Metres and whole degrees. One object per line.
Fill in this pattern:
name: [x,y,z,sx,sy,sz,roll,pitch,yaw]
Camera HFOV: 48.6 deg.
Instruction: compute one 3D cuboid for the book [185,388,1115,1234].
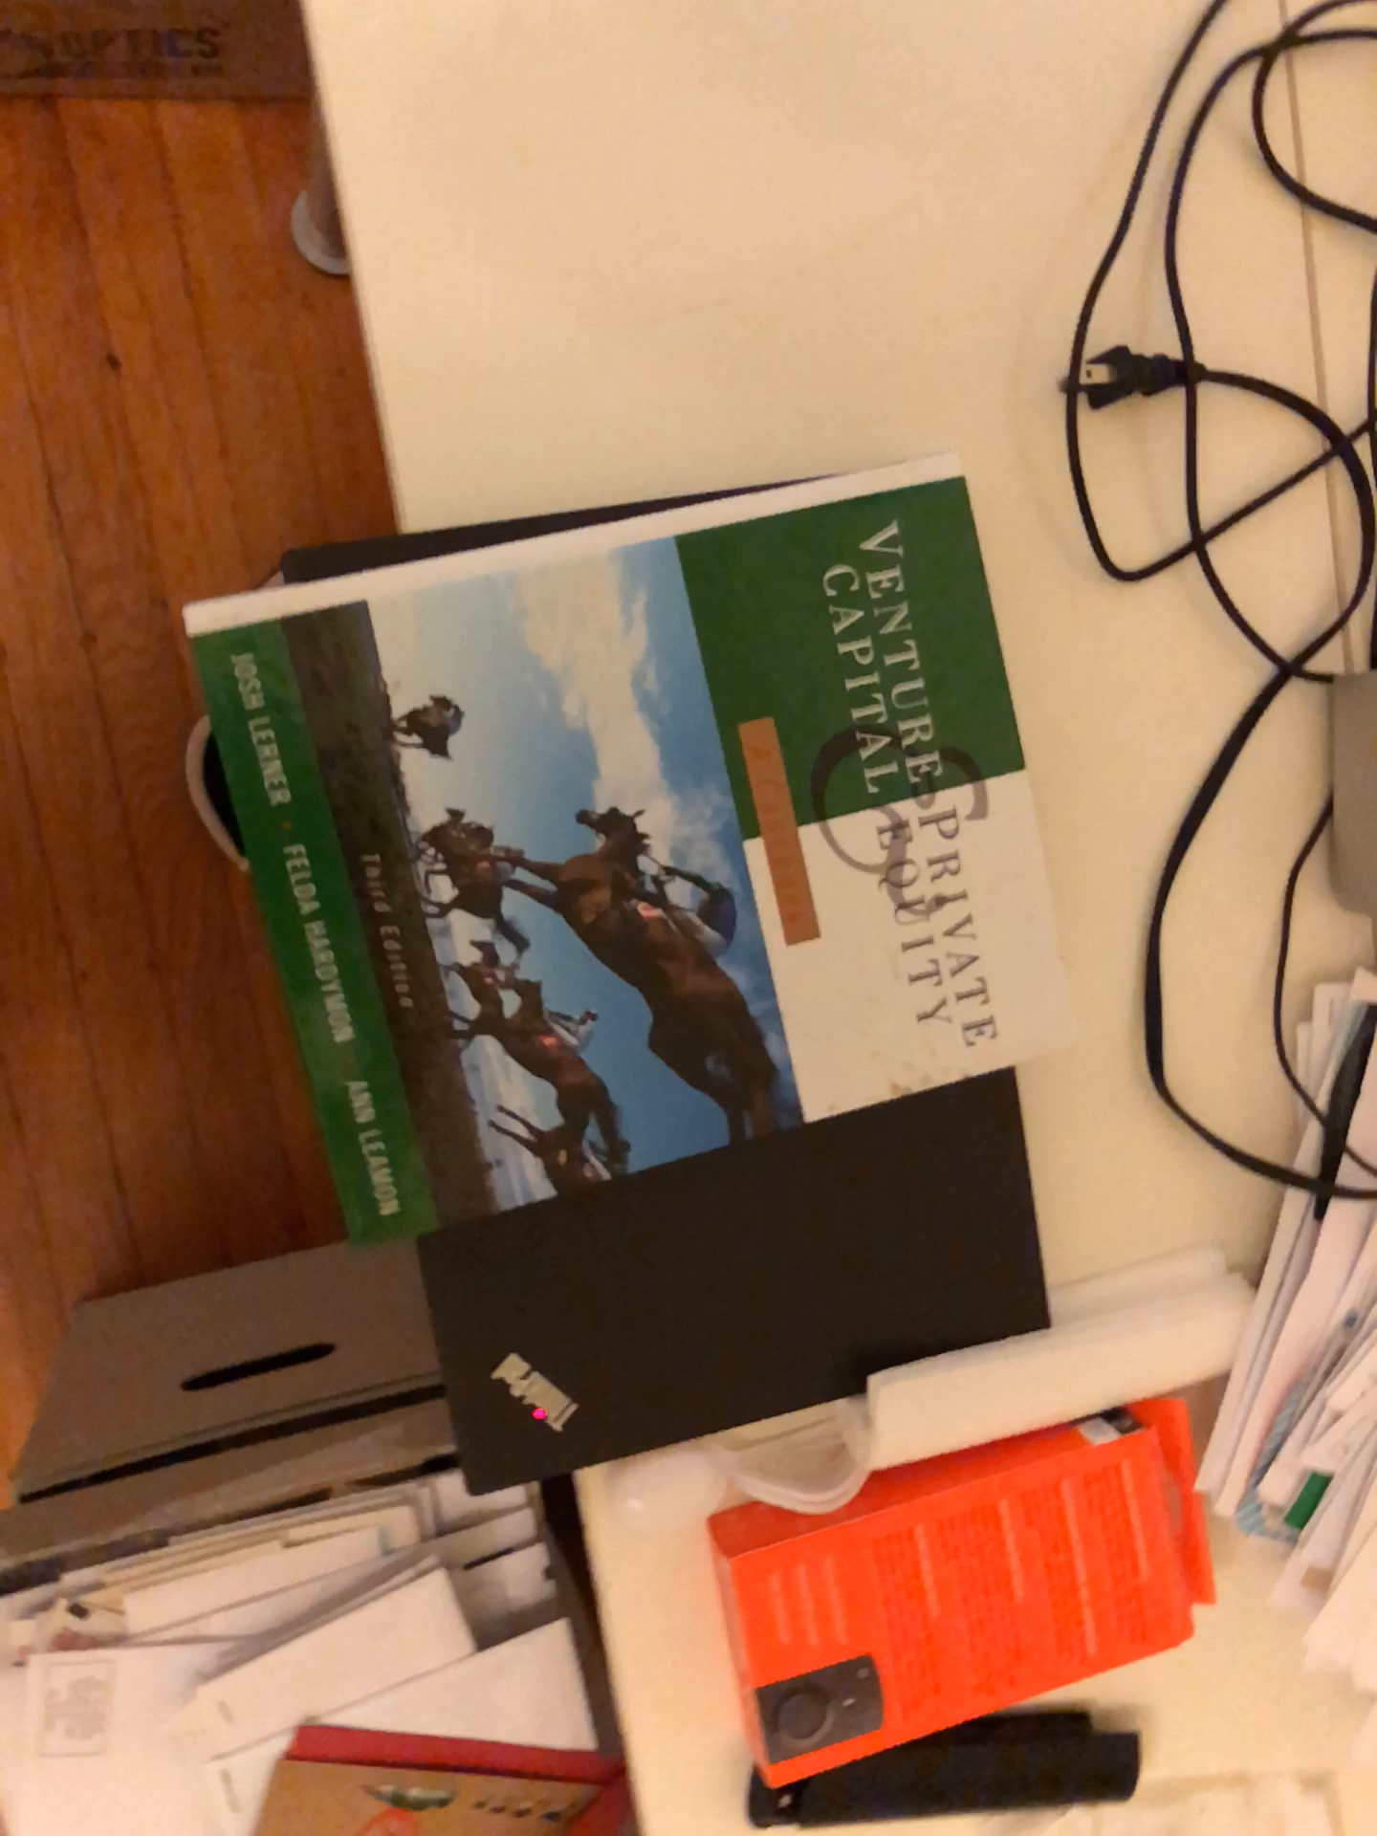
book: [-0.002,-0.040,0.517,0.270,0.030,0.220,-15,99,-12]
